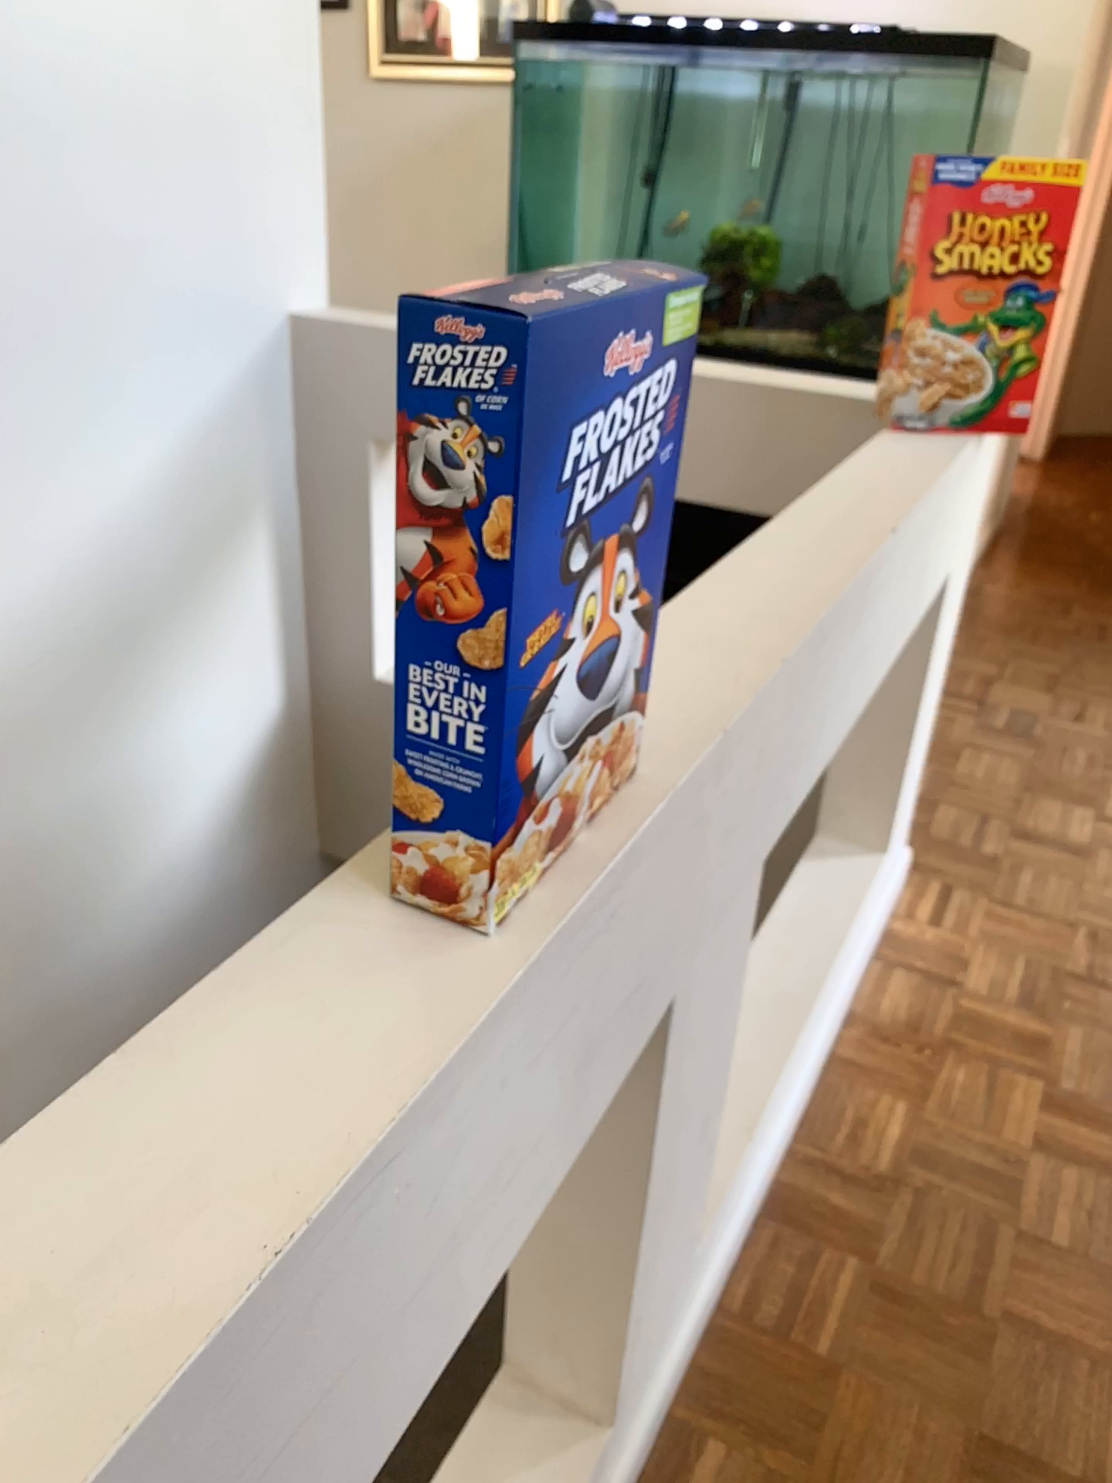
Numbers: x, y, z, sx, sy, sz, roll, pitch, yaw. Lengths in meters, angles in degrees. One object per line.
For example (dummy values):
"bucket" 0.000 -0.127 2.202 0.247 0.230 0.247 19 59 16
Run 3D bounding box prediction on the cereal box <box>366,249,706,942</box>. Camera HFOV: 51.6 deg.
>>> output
"cereal box" -0.010 -0.079 0.571 0.060 0.288 0.201 18 31 20
